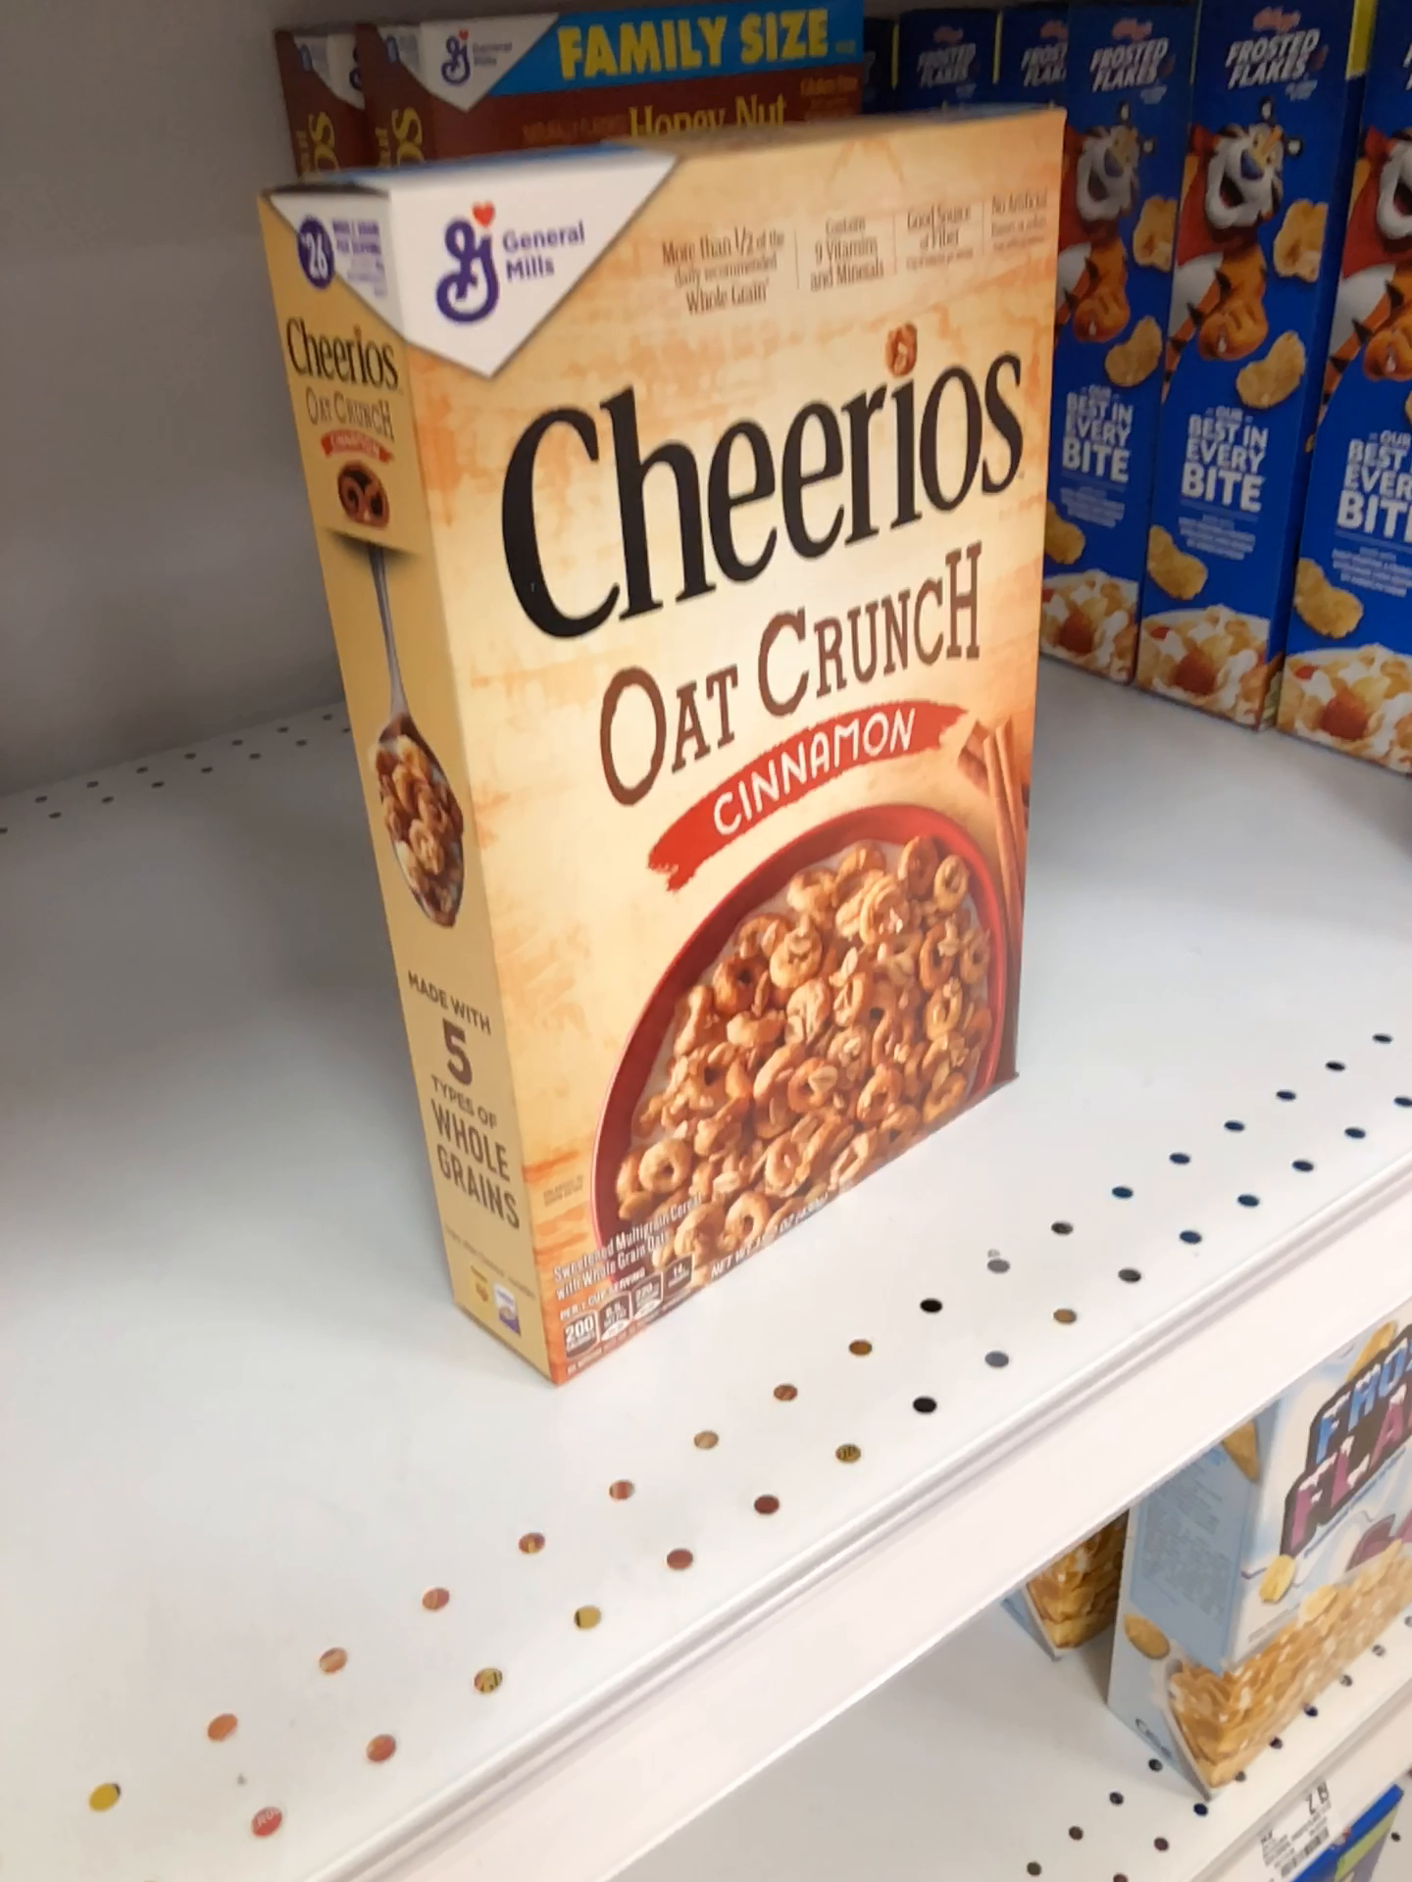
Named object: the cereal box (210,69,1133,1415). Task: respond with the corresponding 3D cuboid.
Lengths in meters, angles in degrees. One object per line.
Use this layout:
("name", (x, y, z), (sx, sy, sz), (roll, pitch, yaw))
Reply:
("cereal box", (0.010, -0.048, 0.385), (0.200, 0.279, 0.050), (-27, 40, -34))
